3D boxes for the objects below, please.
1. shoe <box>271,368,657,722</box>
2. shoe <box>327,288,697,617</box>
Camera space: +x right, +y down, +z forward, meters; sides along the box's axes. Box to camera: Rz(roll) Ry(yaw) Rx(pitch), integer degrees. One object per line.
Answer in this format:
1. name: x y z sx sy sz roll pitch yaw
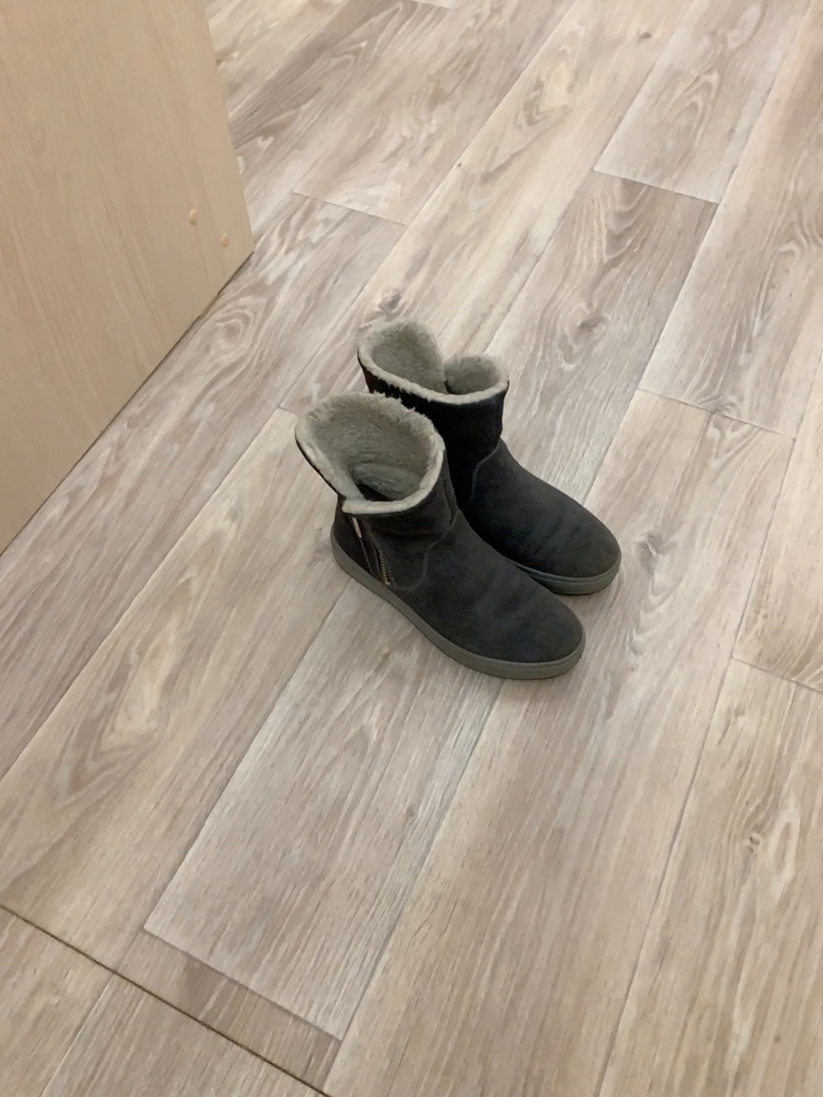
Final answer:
1. shoe: 0.035 -0.001 0.698 0.270 0.179 0.100 29 62 18
2. shoe: 0.076 -0.080 0.729 0.270 0.169 0.100 27 62 17
